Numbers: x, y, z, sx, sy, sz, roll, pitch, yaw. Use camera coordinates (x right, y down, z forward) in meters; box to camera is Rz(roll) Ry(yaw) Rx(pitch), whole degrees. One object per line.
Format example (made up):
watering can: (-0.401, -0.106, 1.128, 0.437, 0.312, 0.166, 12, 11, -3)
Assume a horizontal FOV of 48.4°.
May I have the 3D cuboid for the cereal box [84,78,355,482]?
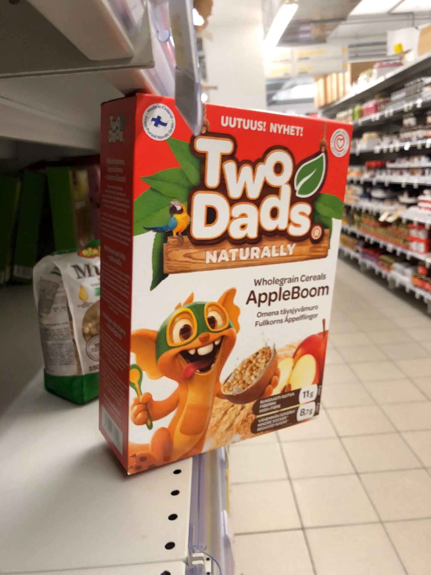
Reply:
cereal box: (0.002, -0.009, 0.401, 0.200, 0.269, 0.080, -5, 14, -33)
